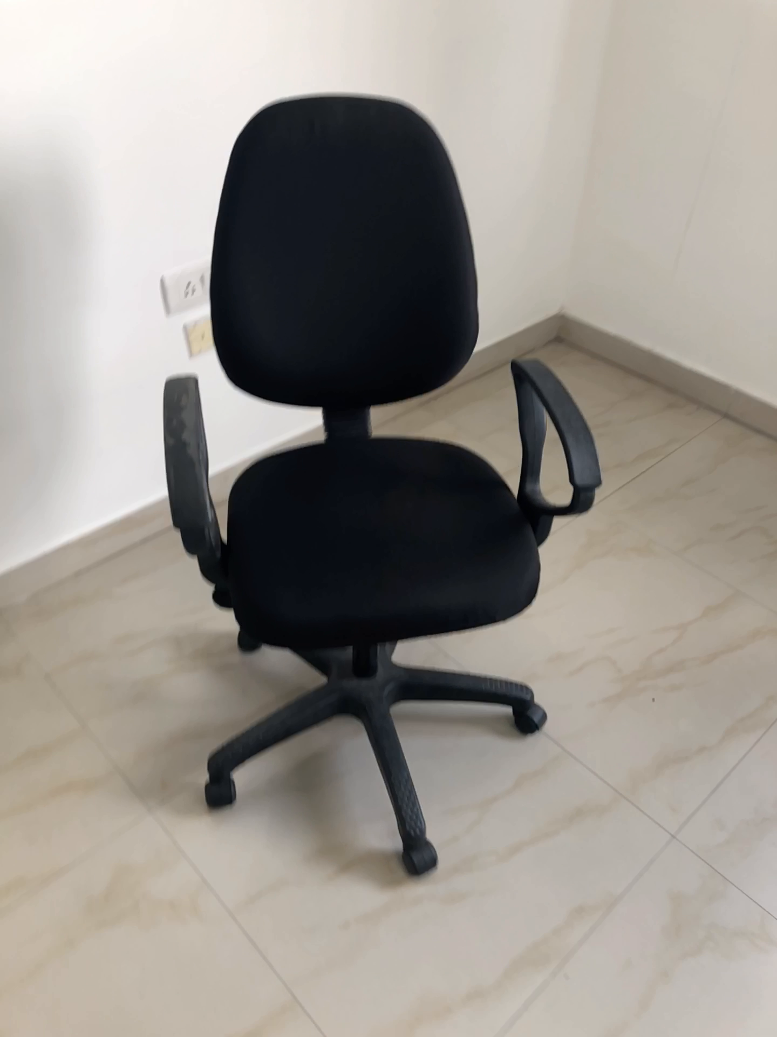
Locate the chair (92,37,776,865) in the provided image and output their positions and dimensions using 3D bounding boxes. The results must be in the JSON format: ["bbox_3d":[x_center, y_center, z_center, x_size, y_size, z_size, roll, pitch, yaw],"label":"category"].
[{"bbox_3d":[0.022,-0.121,1.244,0.680,0.884,0.674,-10,41,-14],"label":"chair"}]
